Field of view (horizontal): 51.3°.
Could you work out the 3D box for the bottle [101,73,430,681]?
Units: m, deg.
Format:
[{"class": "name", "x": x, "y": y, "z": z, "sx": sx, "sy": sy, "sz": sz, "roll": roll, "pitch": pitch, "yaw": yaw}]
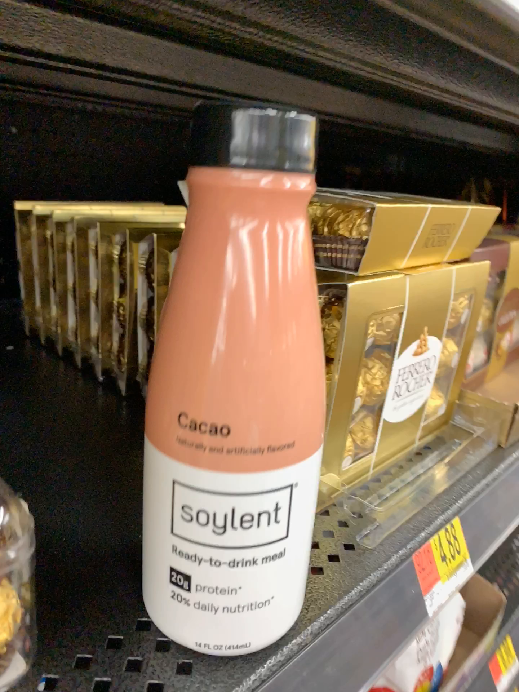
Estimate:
[{"class": "bottle", "x": -0.006, "y": 0.015, "z": 0.197, "sx": 0.080, "sy": 0.189, "sz": 0.070, "roll": 6, "pitch": 19, "yaw": 0}]
